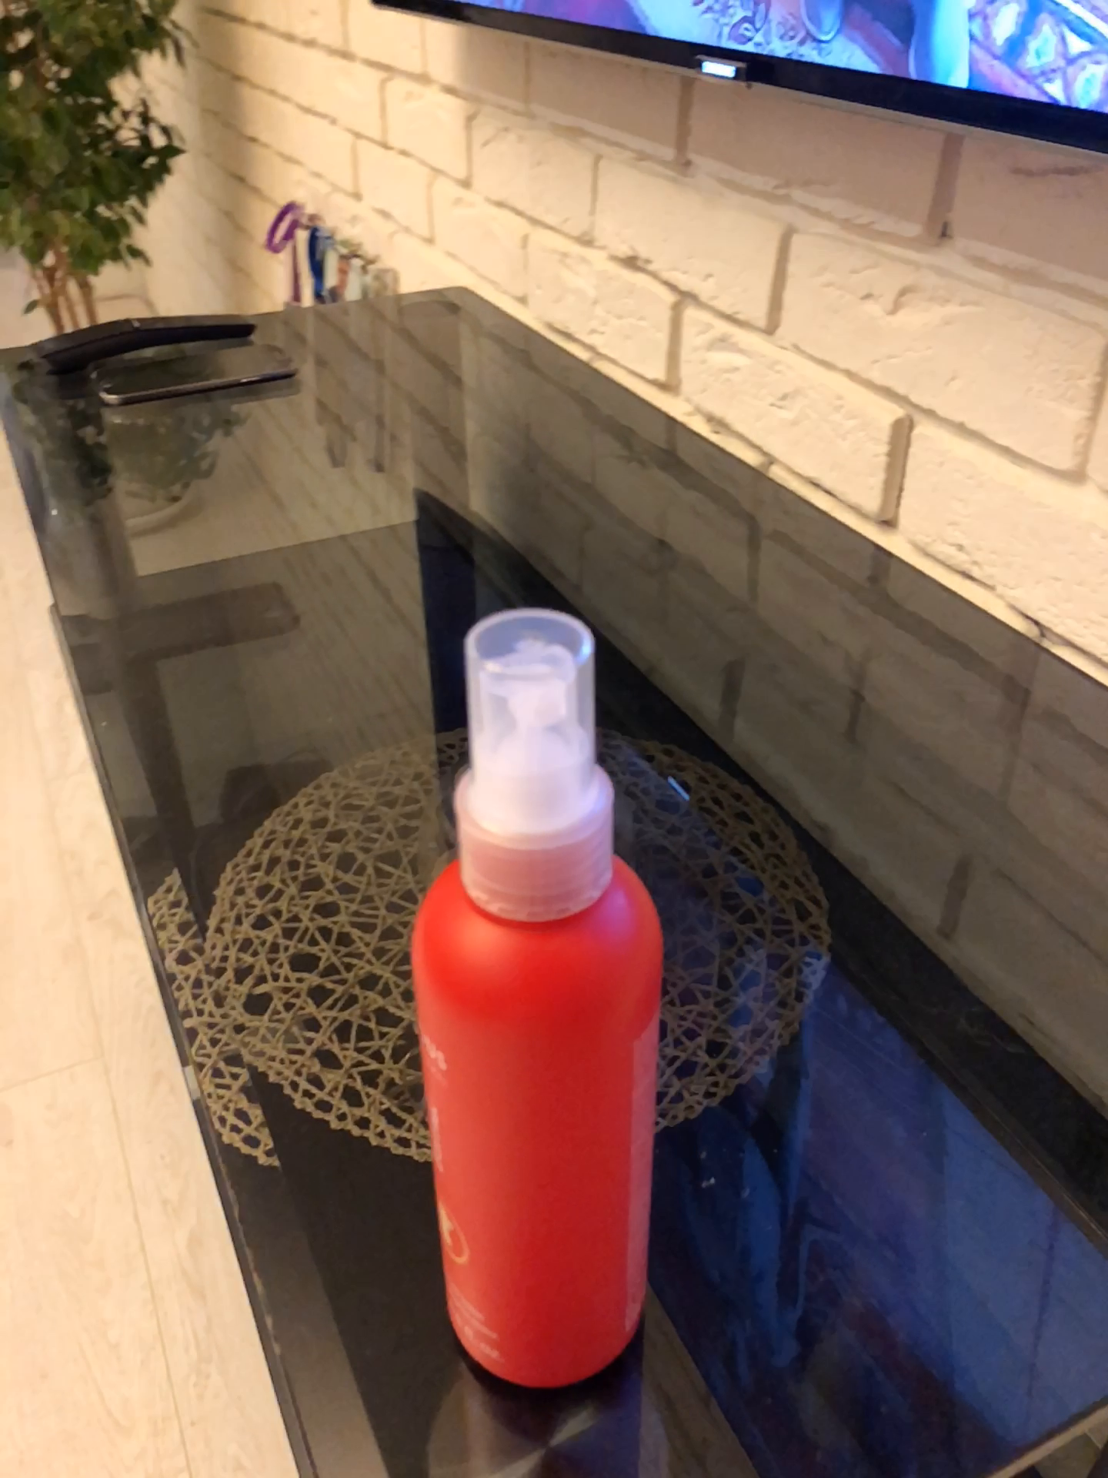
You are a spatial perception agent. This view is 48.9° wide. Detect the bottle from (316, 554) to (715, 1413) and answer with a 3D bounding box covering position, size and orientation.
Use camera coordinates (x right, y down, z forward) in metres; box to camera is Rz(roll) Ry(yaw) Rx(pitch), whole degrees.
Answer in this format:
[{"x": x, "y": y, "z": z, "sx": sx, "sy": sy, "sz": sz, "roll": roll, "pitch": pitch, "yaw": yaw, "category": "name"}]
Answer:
[{"x": -0.008, "y": 0.058, "z": 0.247, "sx": 0.052, "sy": 0.179, "sz": 0.048, "roll": 0, "pitch": 34, "yaw": 0, "category": "bottle"}]
